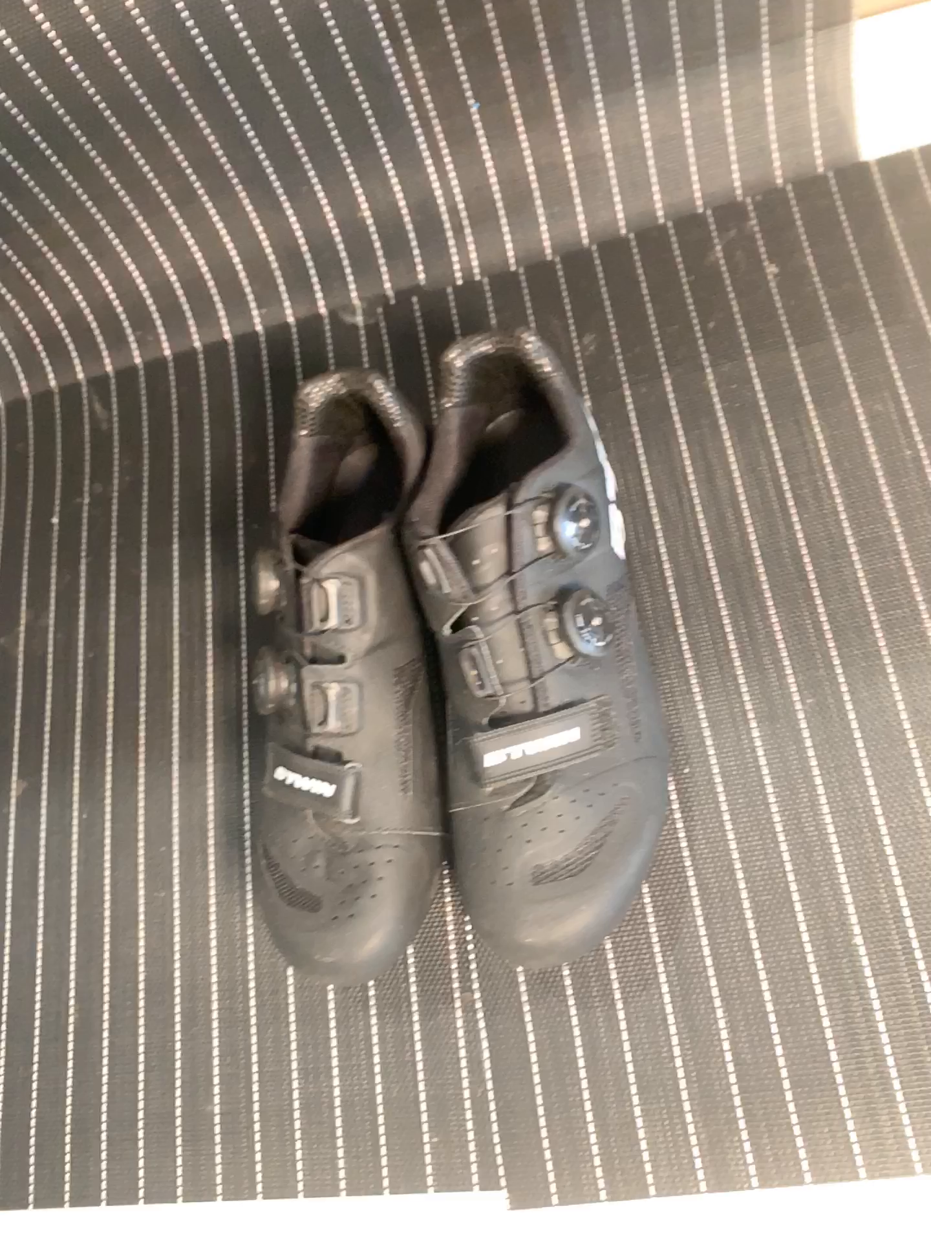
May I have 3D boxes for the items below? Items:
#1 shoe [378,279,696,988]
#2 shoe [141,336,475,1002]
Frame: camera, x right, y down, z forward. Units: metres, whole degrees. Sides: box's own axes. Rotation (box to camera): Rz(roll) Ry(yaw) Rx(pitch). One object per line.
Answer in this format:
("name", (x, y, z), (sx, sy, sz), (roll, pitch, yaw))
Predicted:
("shoe", (0.028, 0.007, 0.408), (0.100, 0.090, 0.270), (-8, 72, 15))
("shoe", (-0.057, 0.021, 0.420), (0.100, 0.090, 0.260), (-4, 72, 16))
